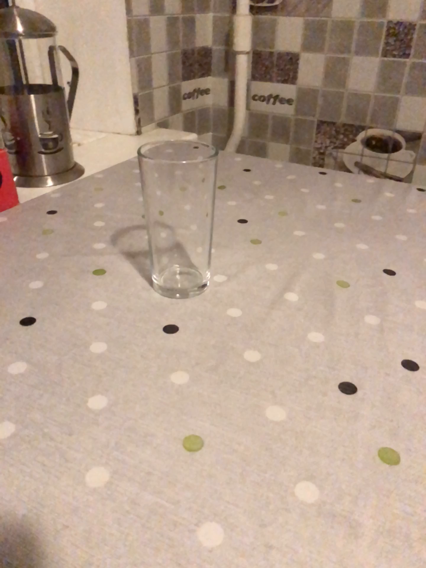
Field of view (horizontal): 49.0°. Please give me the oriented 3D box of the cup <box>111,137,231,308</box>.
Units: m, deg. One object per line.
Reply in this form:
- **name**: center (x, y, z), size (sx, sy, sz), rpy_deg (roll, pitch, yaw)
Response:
- **cup**: center (-0.032, -0.055, 0.401), size (0.069, 0.117, 0.068), rpy_deg (0, 31, 0)
